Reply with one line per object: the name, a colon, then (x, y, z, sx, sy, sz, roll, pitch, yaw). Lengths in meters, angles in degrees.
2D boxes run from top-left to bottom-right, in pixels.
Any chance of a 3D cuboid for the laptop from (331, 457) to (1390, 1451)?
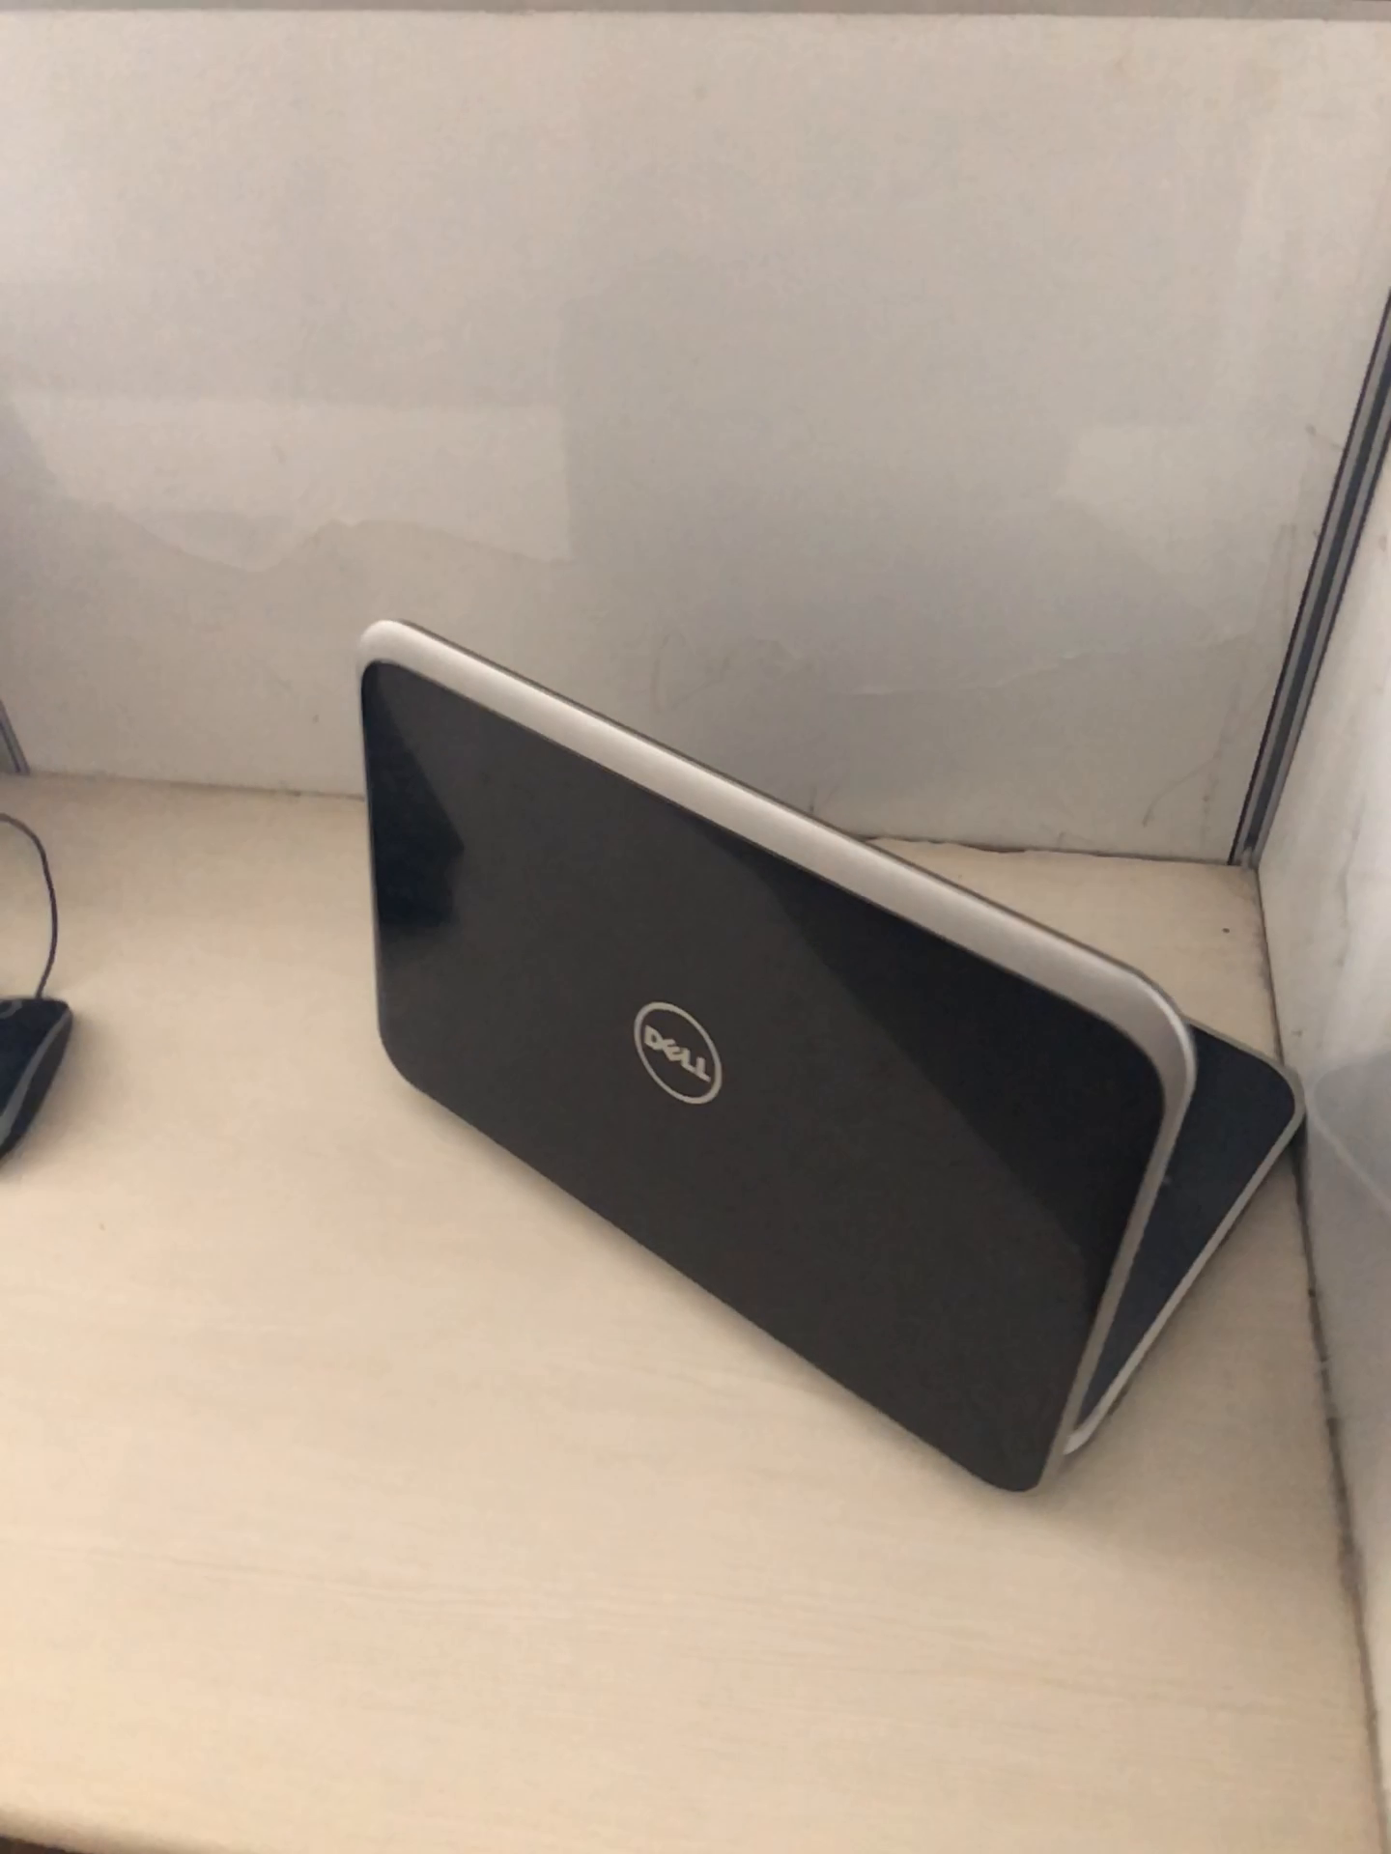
laptop: (0.074, -0.010, 0.650, 0.334, 0.217, 0.239, 29, 50, 26)
